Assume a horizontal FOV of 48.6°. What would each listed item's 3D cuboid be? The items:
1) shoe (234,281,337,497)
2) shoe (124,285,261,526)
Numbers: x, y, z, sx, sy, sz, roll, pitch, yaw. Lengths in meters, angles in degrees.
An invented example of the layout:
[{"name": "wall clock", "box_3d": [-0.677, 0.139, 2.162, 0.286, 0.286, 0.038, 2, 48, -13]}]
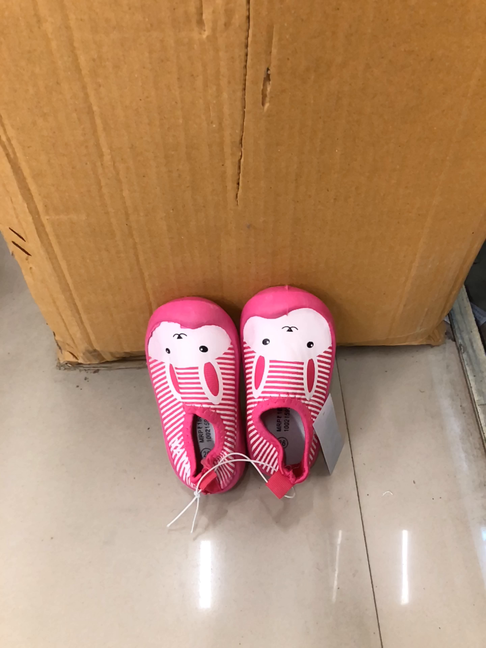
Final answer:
[{"name": "shoe", "box_3d": [0.034, 0.043, 0.412, 0.069, 0.082, 0.148, 0, 95, 7]}, {"name": "shoe", "box_3d": [-0.035, 0.053, 0.407, 0.069, 0.082, 0.156, -9, 94, -2]}]
